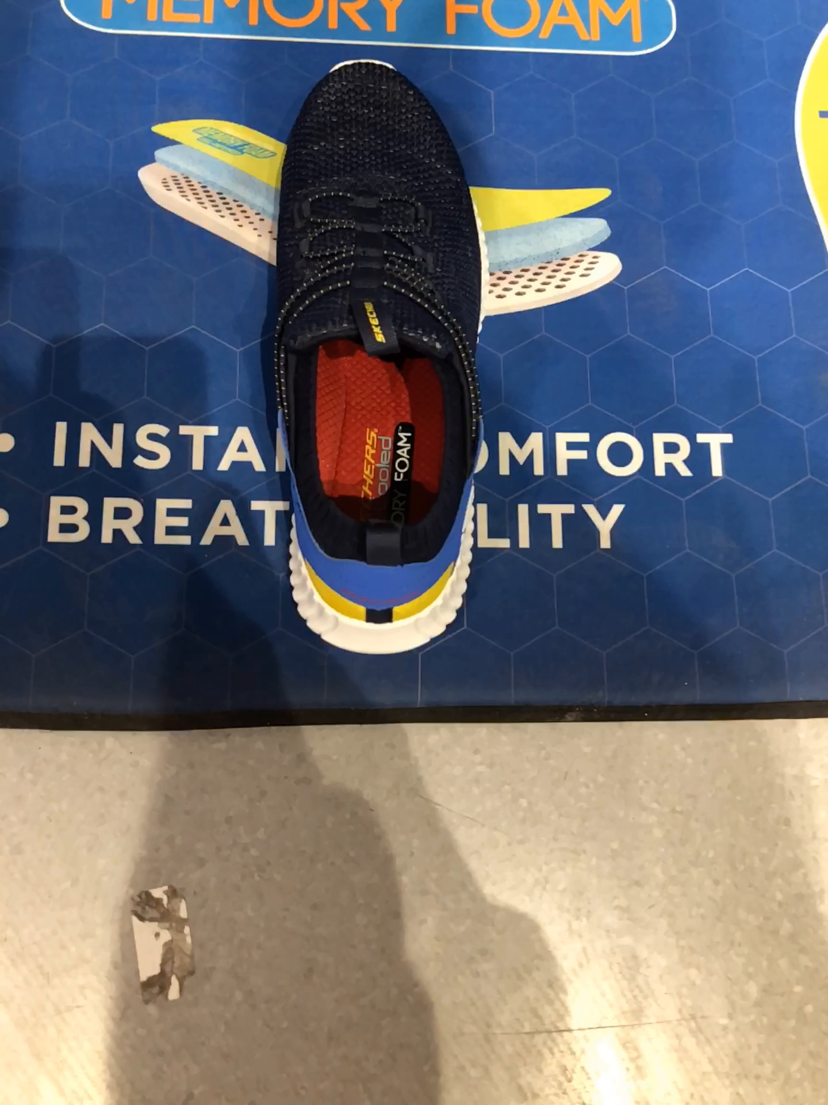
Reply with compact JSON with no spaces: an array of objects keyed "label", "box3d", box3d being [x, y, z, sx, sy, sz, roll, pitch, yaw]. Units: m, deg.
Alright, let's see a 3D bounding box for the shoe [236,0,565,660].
[{"label":"shoe","box3d":[-0.012,-0.100,0.398,0.111,0.103,0.280,-2,79,-4]}]
